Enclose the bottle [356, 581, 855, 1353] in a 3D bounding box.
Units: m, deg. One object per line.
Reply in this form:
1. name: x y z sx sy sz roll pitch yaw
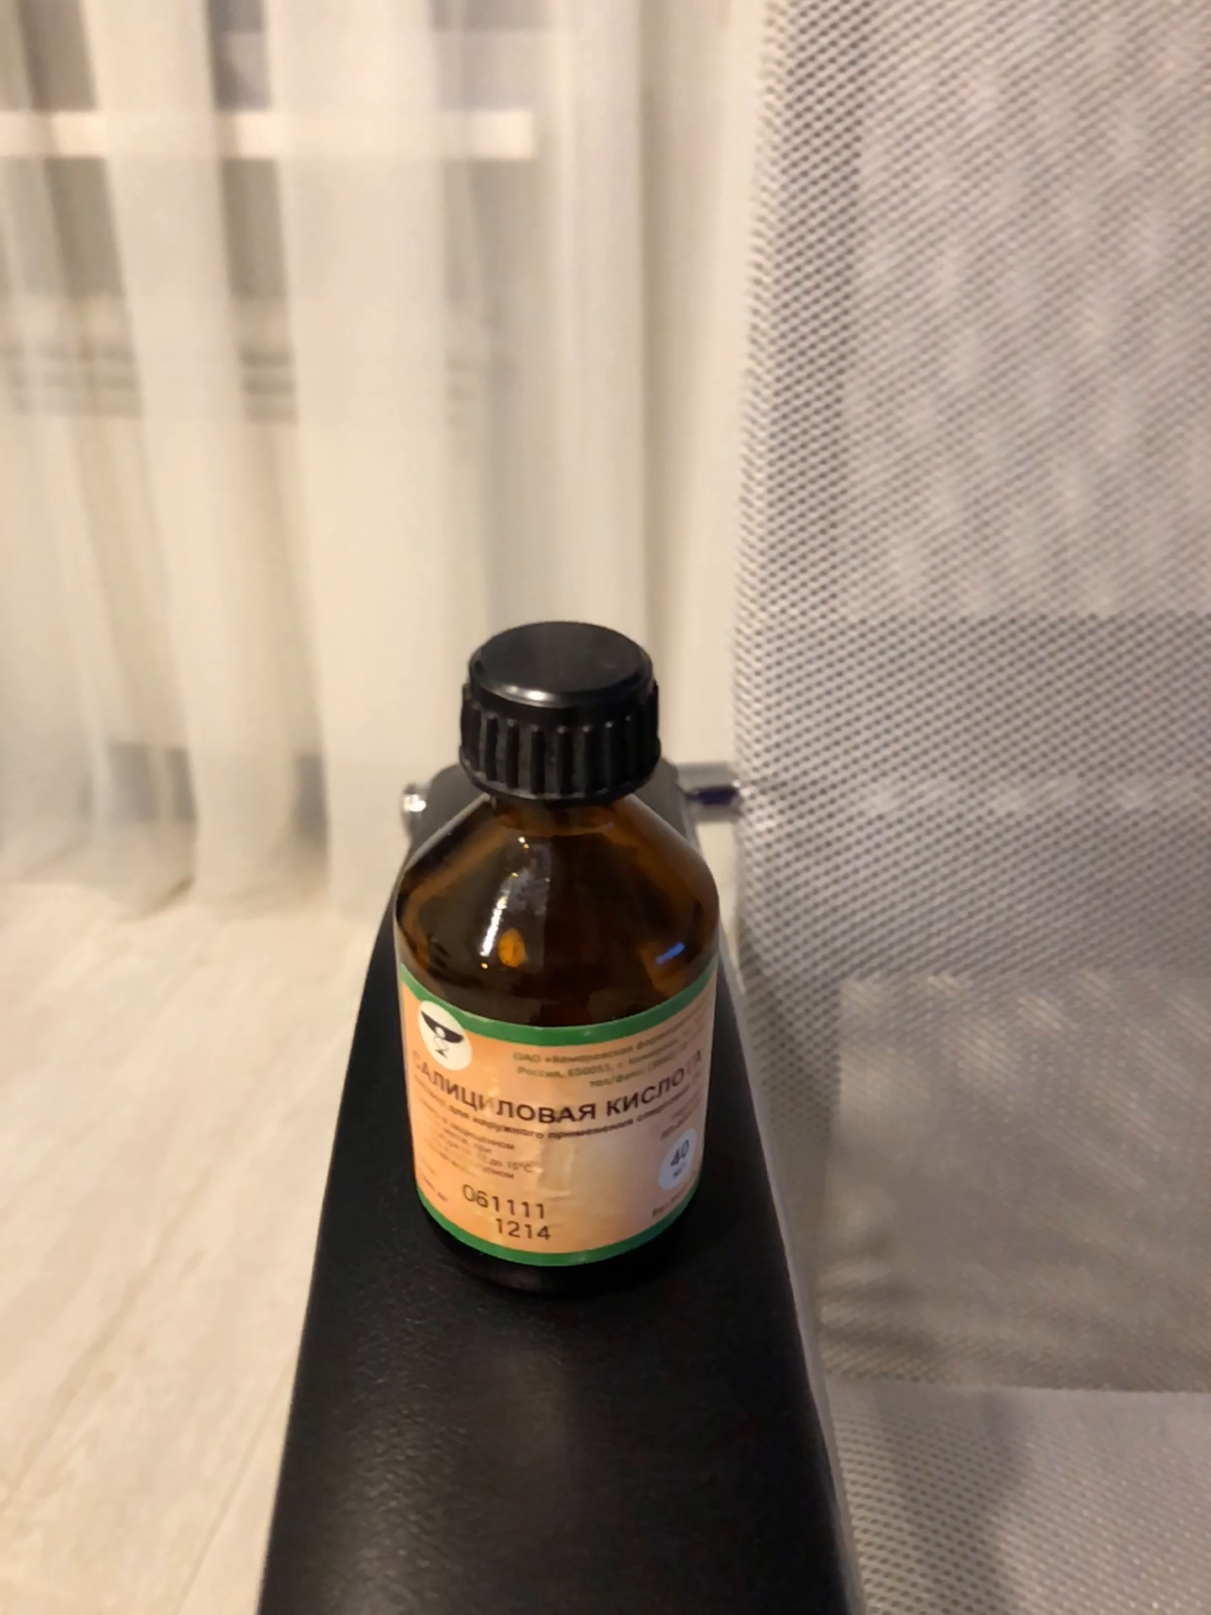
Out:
1. bottle: -0.002 0.020 0.177 0.050 0.083 0.050 -1 29 0
